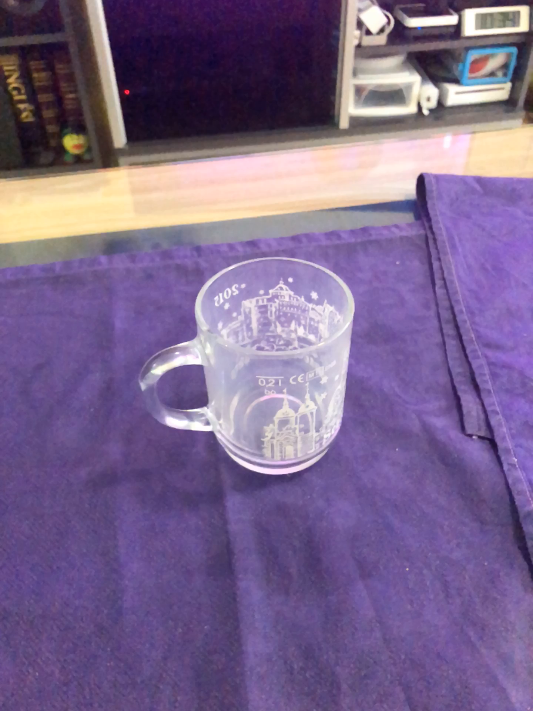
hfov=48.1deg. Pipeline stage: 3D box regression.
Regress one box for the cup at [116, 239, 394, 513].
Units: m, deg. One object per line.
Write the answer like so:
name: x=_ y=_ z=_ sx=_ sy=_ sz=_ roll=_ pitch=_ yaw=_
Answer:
cup: x=-0.007 y=0.007 z=0.274 sx=0.100 sy=0.080 sz=0.070 roll=-12 pitch=42 yaw=-11
